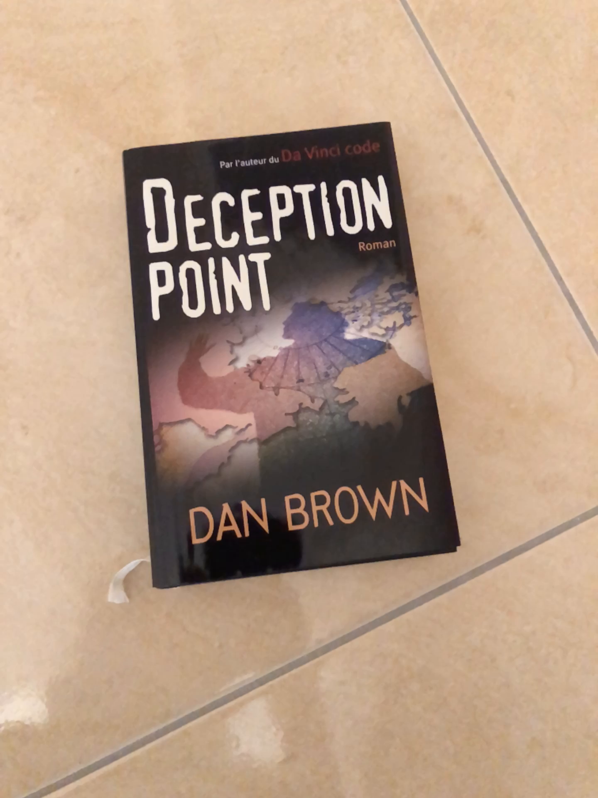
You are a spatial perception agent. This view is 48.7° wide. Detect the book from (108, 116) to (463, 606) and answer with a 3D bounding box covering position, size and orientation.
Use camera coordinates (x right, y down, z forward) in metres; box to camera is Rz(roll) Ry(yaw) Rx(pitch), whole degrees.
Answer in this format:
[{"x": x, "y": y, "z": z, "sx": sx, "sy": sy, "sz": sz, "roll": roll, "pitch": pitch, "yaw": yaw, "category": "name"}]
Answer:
[{"x": -0.011, "y": -0.022, "z": 0.314, "sx": 0.136, "sy": 0.037, "sz": 0.212, "roll": -6, "pitch": 79, "yaw": -1, "category": "book"}]
